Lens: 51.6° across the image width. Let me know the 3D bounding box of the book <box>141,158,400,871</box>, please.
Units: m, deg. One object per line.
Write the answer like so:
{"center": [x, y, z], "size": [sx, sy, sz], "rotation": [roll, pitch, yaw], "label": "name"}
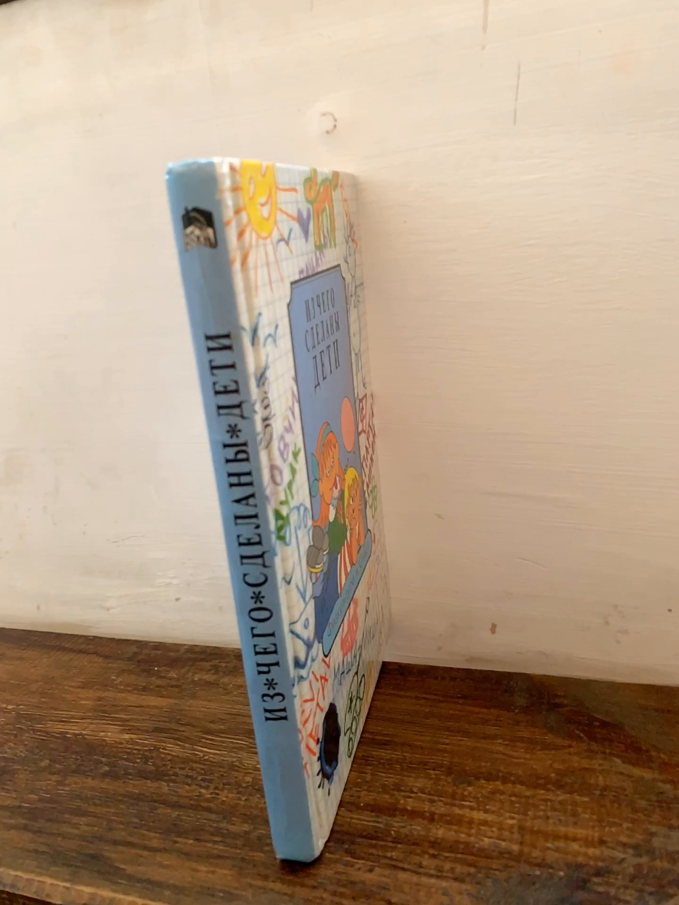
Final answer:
{"center": [-0.008, 0.009, 0.240], "size": [0.020, 0.195, 0.131], "rotation": [-2, 18, 15], "label": "book"}
